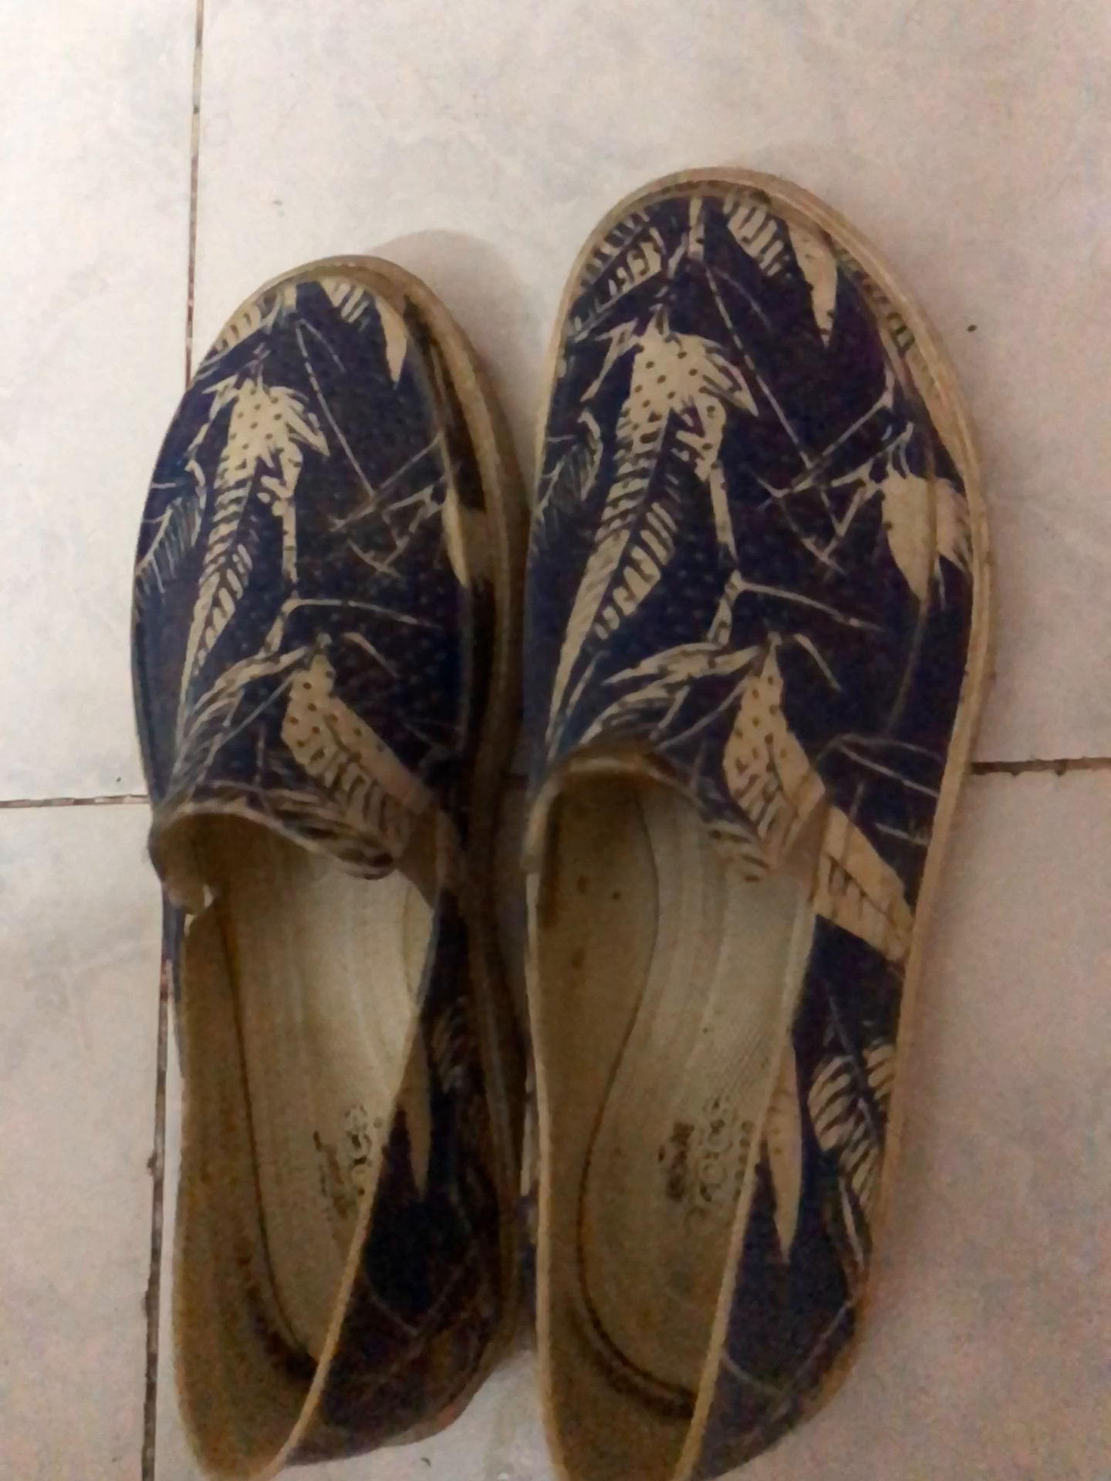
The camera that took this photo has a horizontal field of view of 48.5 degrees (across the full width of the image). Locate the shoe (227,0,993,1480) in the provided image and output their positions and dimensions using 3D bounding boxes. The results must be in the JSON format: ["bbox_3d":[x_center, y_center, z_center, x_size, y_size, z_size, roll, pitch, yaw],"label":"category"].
[{"bbox_3d":[0.023,0.007,0.257,0.110,0.100,0.300,1,83,26],"label":"shoe"}]

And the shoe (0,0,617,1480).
[{"bbox_3d":[-0.068,0.008,0.289,0.110,0.100,0.310,-9,80,17],"label":"shoe"}]
